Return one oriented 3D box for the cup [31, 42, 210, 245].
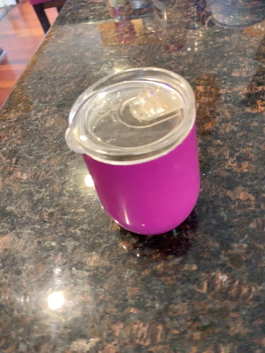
[{"bbox_3d":[-0.001,-0.017,0.206,0.090,0.110,0.090,-5,54,8],"label":"cup"}]
